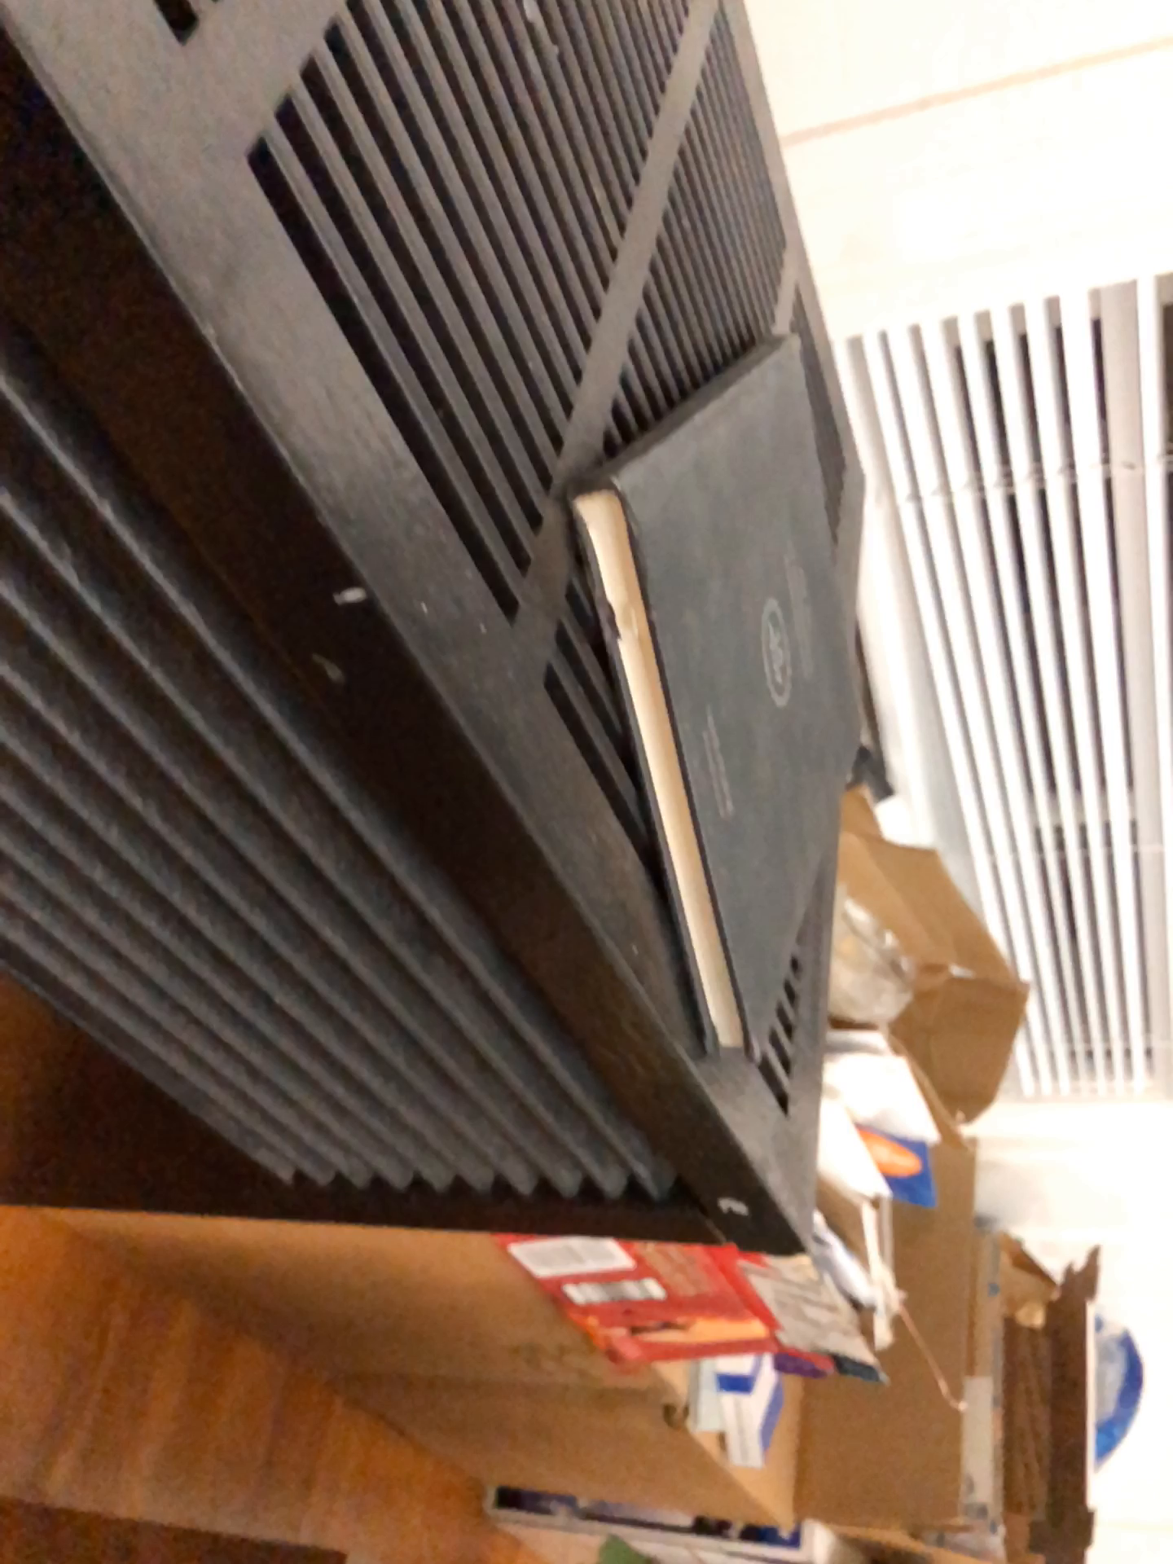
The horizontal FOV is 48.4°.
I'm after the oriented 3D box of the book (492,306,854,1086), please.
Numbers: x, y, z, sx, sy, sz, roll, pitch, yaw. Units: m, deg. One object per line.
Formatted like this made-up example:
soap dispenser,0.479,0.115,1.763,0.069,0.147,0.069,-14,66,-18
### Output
book,0.046,-0.049,0.411,0.251,0.020,0.160,-56,136,-58
